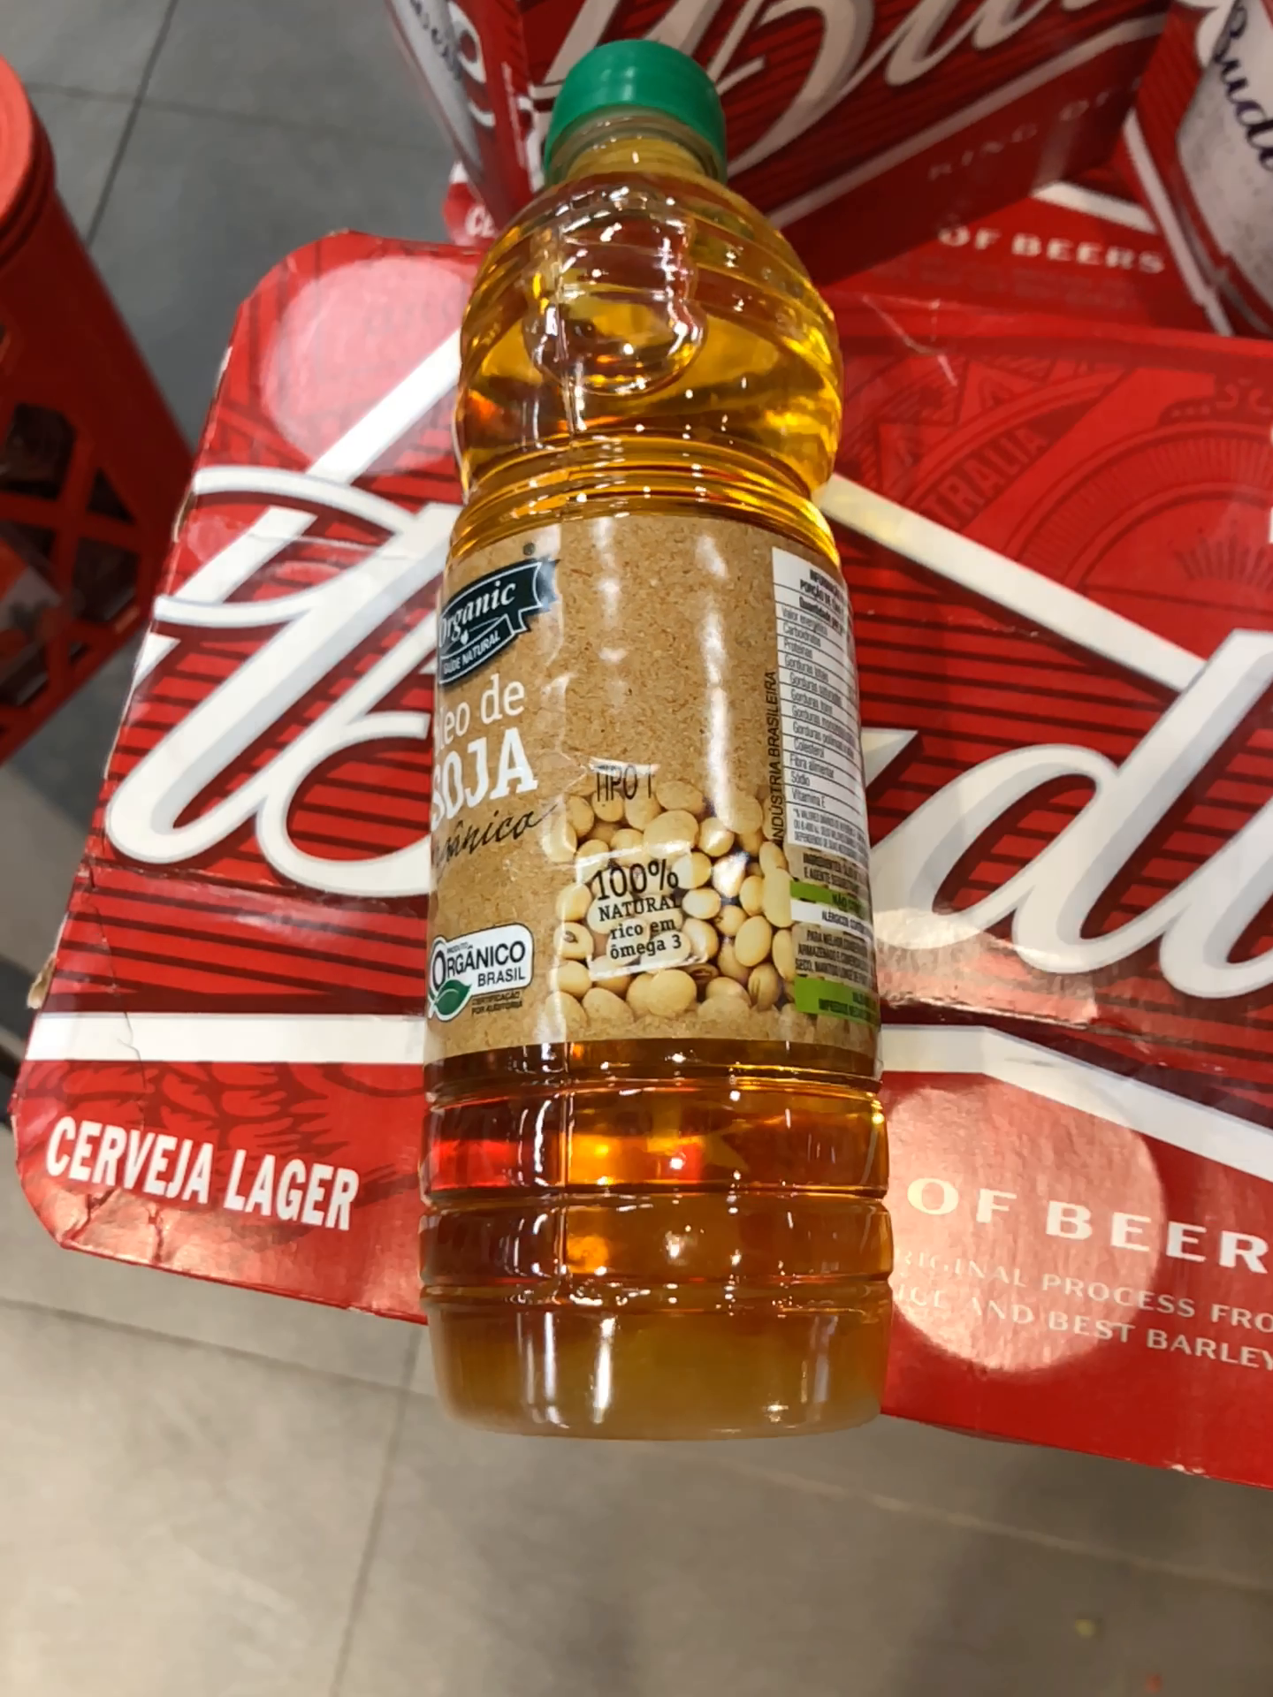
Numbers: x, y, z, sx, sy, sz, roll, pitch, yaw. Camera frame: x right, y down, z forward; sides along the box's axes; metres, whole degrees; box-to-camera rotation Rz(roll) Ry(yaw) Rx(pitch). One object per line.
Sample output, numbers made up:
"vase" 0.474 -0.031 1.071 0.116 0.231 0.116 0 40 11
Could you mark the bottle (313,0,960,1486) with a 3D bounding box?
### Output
"bottle" -0.002 -0.040 0.217 0.060 0.060 0.240 10 71 -32
